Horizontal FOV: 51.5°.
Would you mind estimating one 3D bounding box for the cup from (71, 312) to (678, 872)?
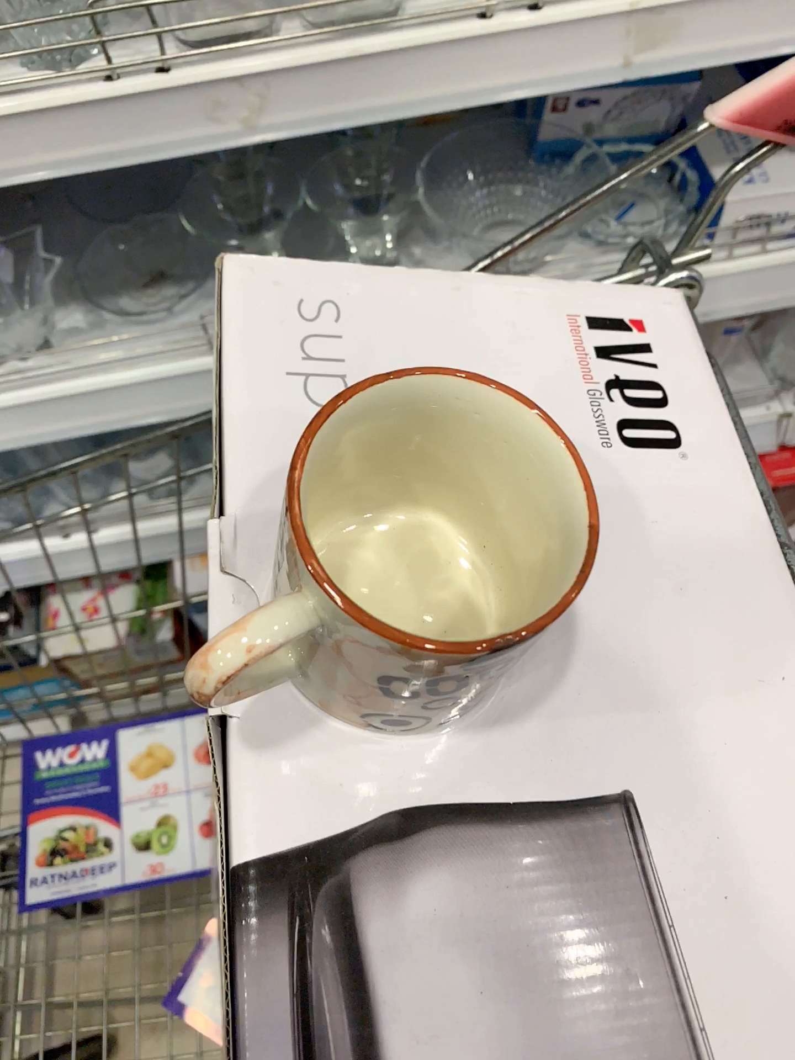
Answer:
[{"bbox_3d":[-0.007,0.012,0.193,0.100,0.070,0.070,-26,63,-24],"label":"cup"}]
